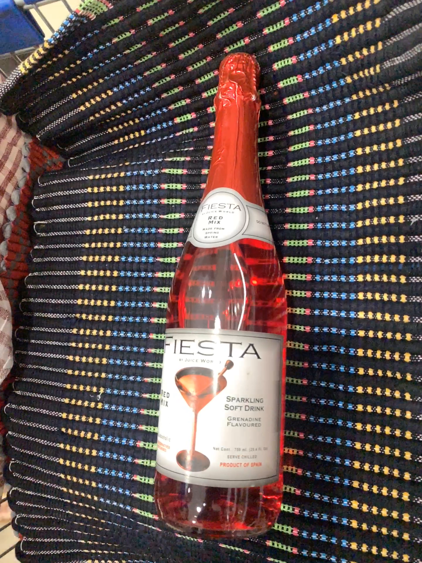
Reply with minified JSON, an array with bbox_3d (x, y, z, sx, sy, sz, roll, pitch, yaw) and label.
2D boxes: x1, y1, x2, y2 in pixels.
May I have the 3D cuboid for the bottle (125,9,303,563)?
[{"bbox_3d":[0.011,-0.007,0.285,0.080,0.070,0.310,-3,77,26],"label":"bottle"}]
